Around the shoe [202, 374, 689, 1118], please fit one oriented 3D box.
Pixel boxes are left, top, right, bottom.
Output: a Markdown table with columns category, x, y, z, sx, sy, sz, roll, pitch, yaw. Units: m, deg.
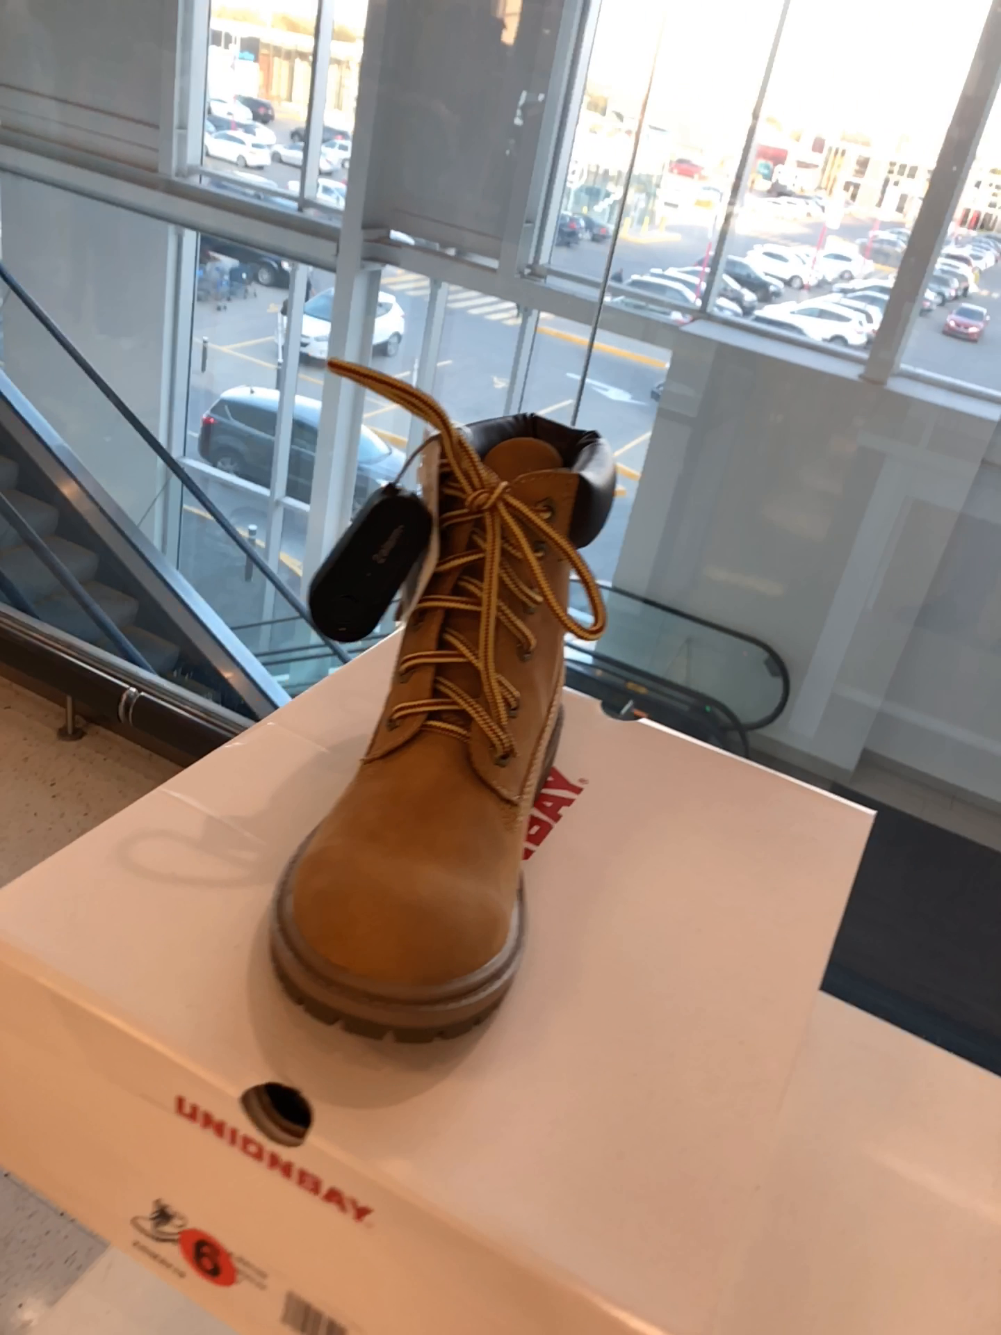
| category | x | y | z | sx | sy | sz | roll | pitch | yaw |
| --- | --- | --- | --- | --- | --- | --- | --- | --- | --- |
| shoe | -0.008 | 0.006 | 0.428 | 0.107 | 0.169 | 0.242 | 15 | 28 | 5 |
